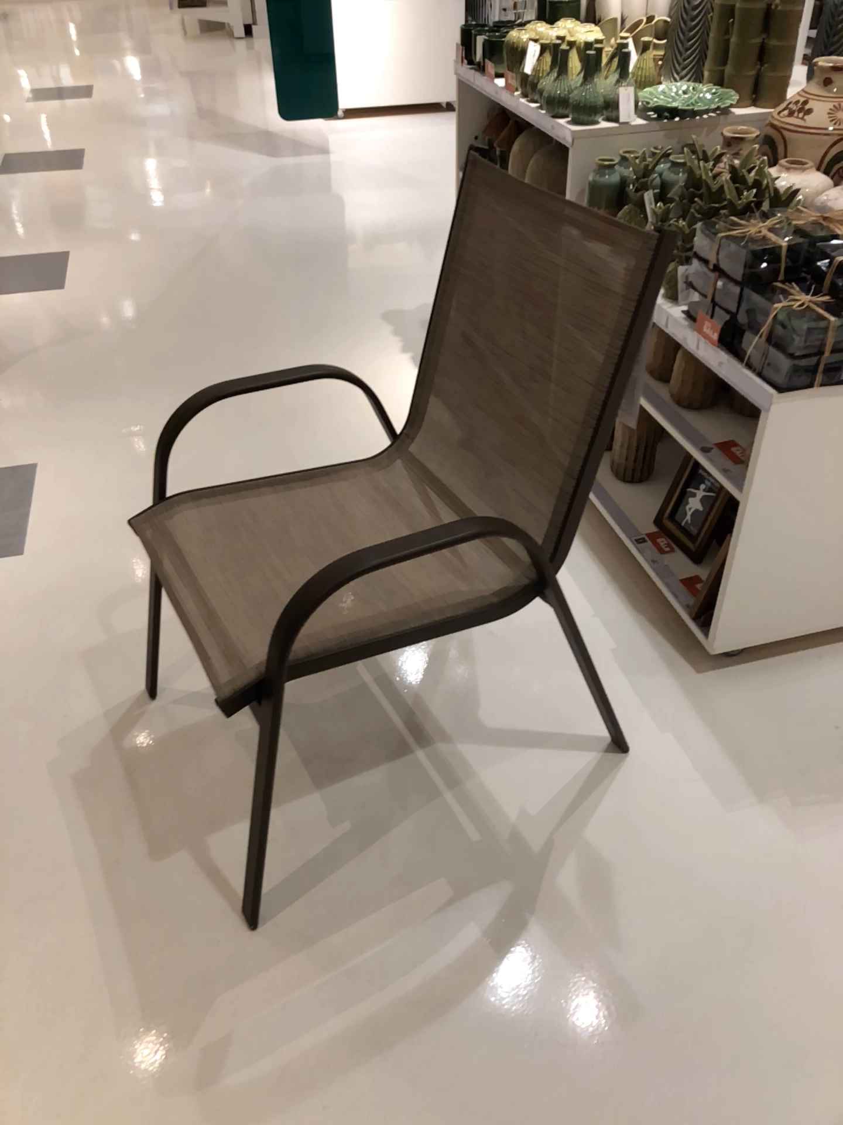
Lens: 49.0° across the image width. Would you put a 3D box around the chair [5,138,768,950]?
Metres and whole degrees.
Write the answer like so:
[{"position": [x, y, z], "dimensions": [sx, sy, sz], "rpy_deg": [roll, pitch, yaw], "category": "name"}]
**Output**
[{"position": [-0.068, -0.072, 1.322], "dimensions": [0.701, 0.793, 0.604], "rpy_deg": [-19, 41, -21], "category": "chair"}]
